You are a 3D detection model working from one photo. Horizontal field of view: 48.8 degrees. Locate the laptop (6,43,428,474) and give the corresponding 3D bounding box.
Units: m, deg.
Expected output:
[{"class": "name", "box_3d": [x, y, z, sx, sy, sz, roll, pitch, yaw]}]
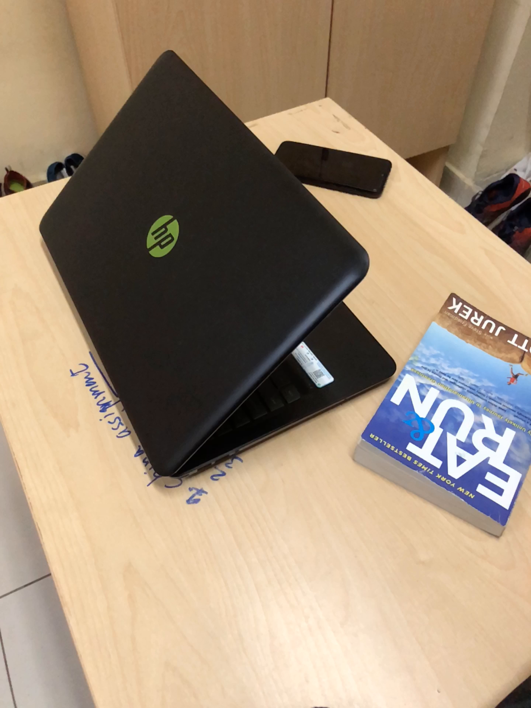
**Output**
[{"class": "laptop", "box_3d": [-0.062, -0.118, 0.574, 0.231, 0.167, 0.360, -24, 56, -18]}]
